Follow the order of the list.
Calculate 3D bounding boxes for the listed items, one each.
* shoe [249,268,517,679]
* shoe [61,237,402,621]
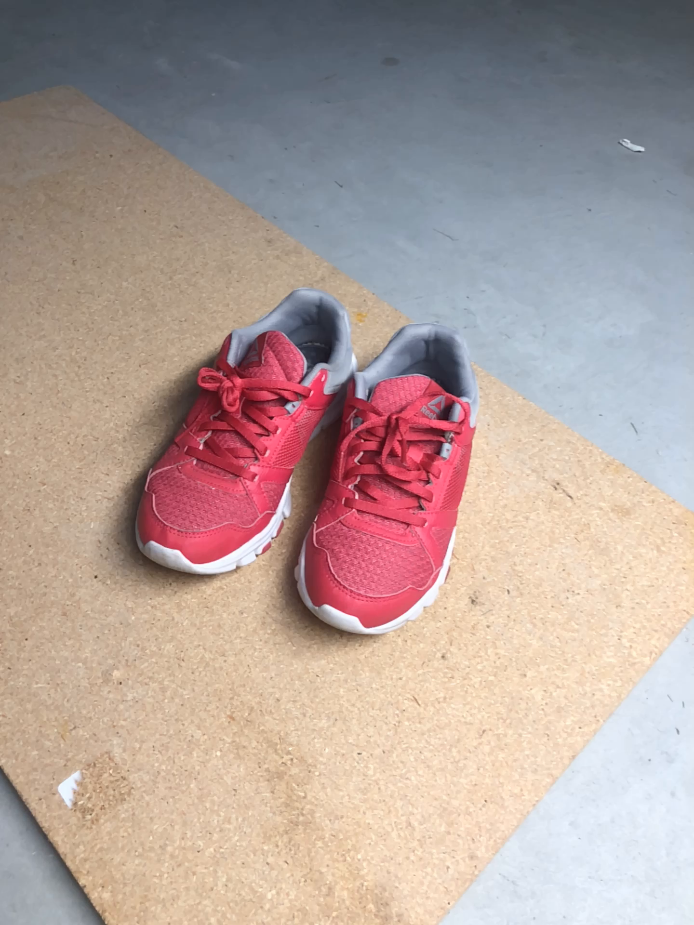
[{"bbox_3d":[0.033,-0.007,0.541,0.110,0.100,0.271,16,50,7],"label":"shoe"},{"bbox_3d":[-0.066,-0.038,0.555,0.100,0.100,0.271,23,52,13],"label":"shoe"}]
